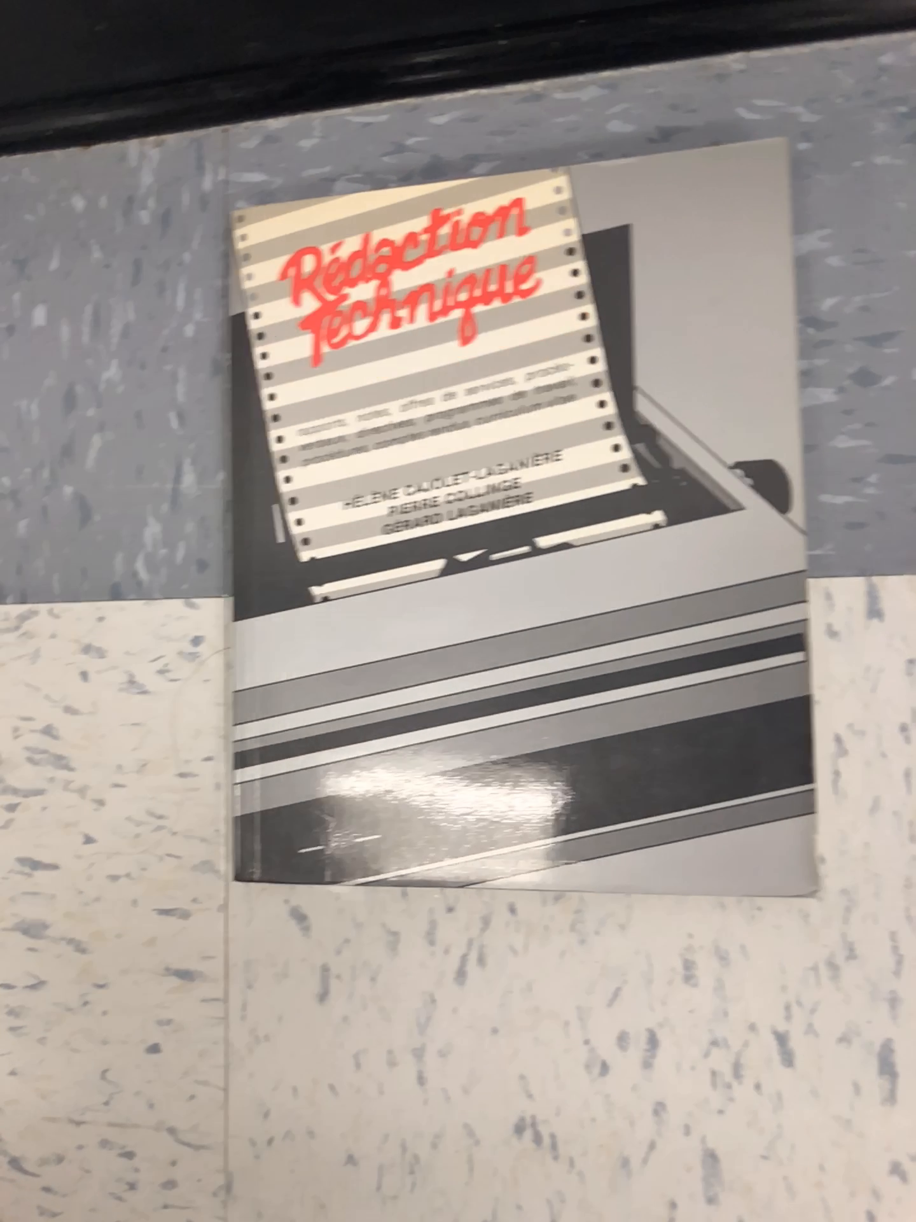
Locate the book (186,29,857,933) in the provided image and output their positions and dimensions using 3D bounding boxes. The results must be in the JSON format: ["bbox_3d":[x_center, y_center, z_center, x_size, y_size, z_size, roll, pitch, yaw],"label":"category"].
[{"bbox_3d":[0.012,-0.030,0.282,0.170,0.040,0.220,-2,86,13],"label":"book"}]
